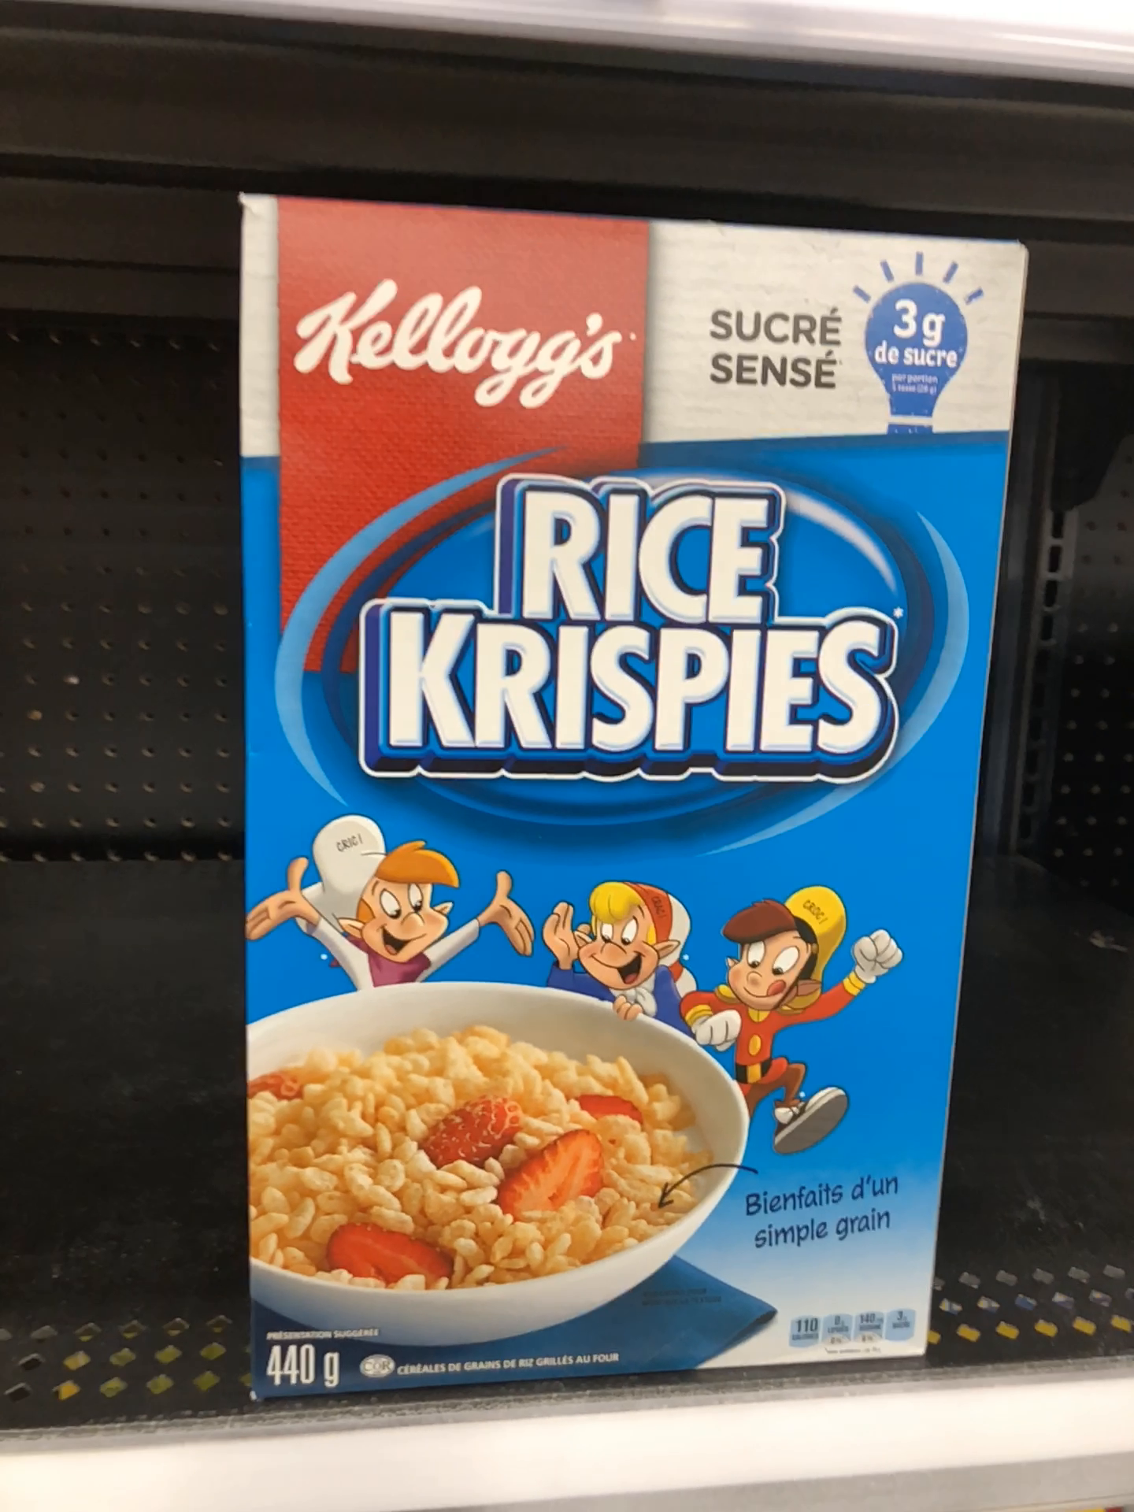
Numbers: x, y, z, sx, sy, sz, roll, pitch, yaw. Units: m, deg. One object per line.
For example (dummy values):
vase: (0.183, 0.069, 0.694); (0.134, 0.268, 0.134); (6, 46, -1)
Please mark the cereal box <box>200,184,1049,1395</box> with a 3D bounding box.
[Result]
cereal box: (0.008, 0.013, 0.355); (0.200, 0.299, 0.080); (0, 10, -7)
